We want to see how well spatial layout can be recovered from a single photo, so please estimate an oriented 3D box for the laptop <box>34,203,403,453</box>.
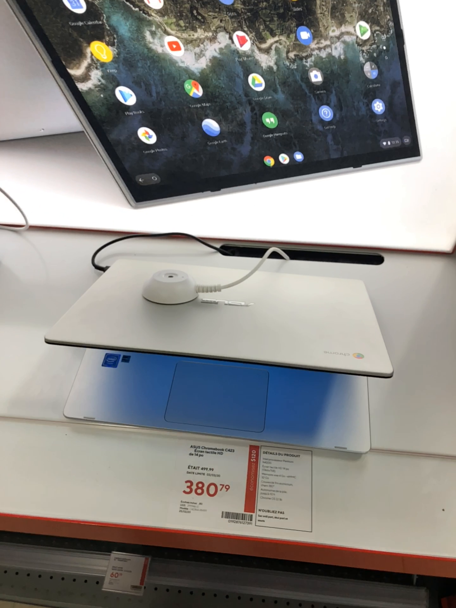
[{"bbox_3d":[0.002,0.014,0.540,0.317,0.100,0.226,5,50,5],"label":"laptop"}]
